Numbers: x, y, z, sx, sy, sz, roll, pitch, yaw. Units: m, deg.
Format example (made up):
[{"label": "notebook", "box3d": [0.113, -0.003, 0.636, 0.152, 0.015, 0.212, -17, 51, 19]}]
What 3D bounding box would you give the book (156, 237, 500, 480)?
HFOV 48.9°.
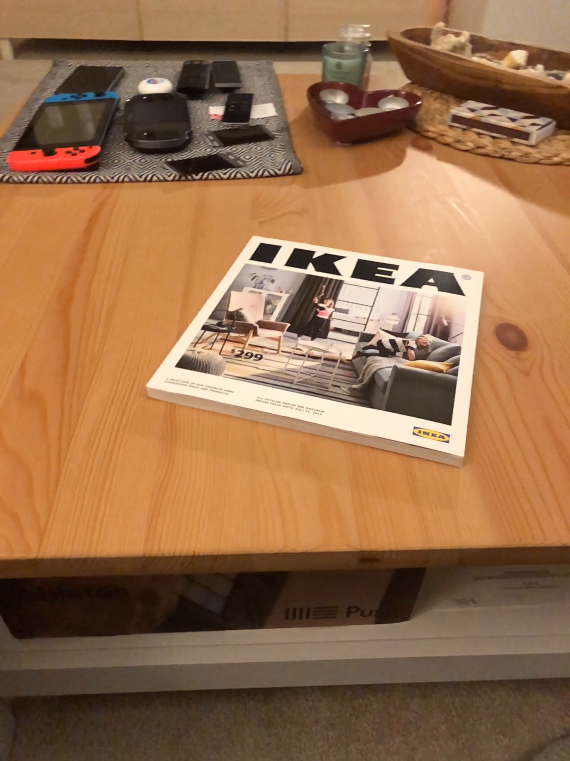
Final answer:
[{"label": "book", "box3d": [0.048, -0.035, 0.471, 0.210, 0.015, 0.217, 12, 42, 12]}]
